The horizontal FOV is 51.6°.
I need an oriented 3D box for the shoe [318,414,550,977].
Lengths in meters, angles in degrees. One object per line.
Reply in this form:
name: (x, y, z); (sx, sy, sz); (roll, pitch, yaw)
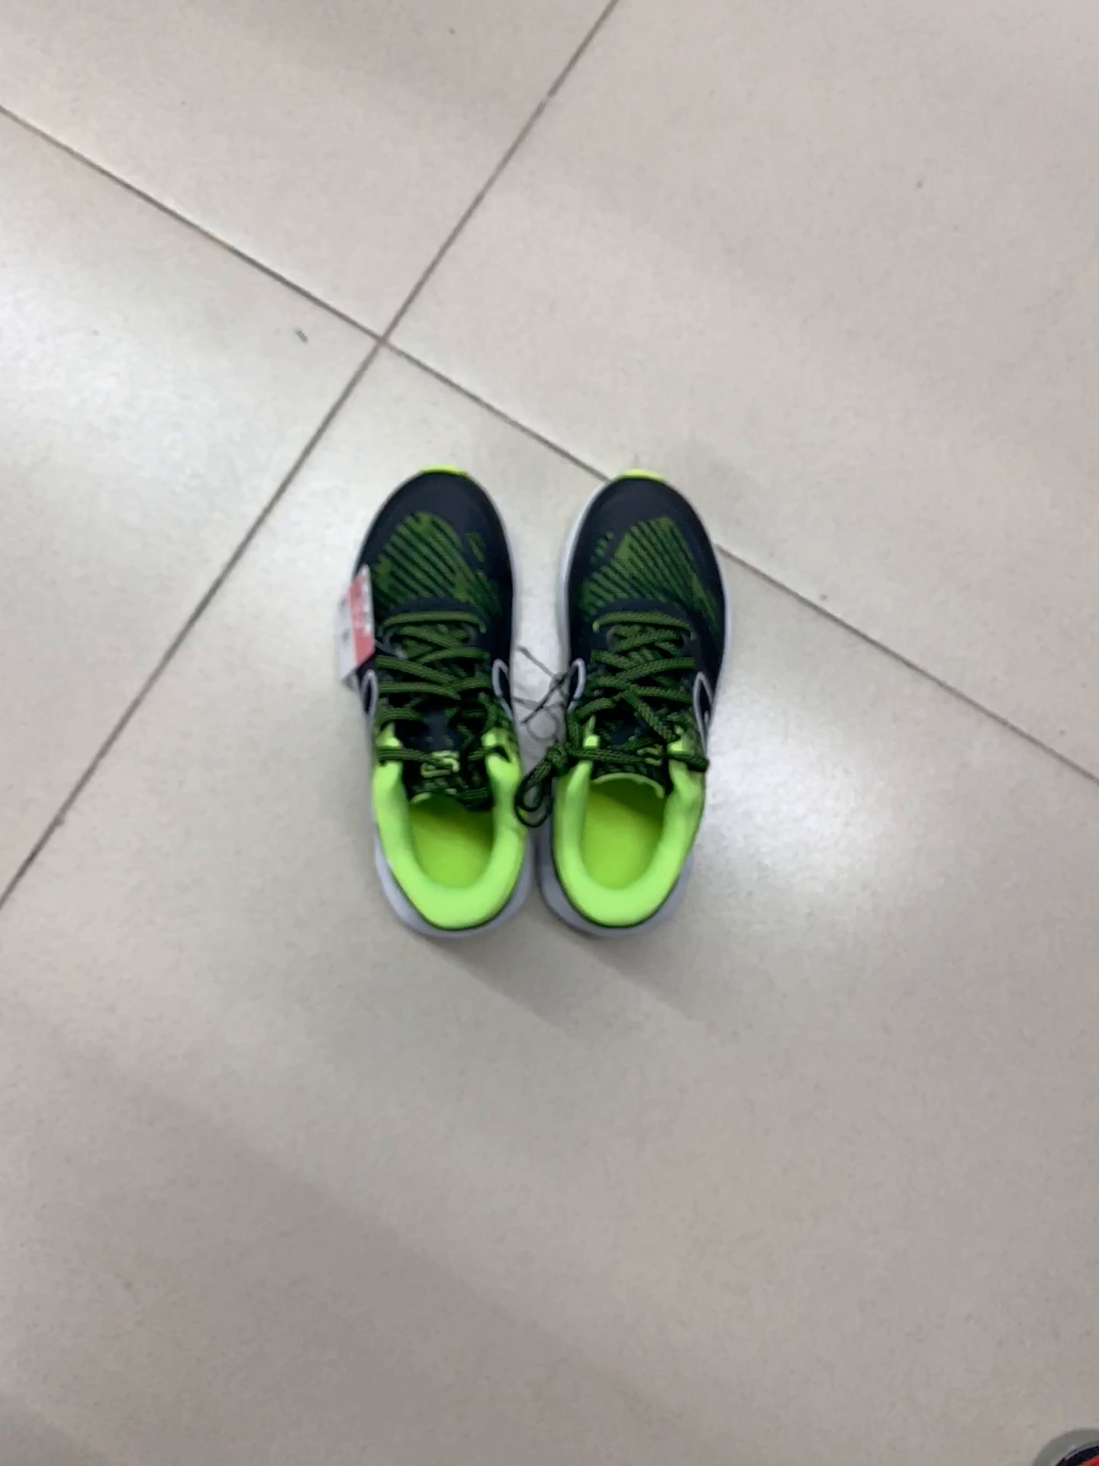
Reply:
shoe: (-0.053, -0.014, 0.542); (0.090, 0.110, 0.240); (-3, 84, -3)

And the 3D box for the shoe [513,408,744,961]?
shoe: (0.034, -0.018, 0.553); (0.090, 0.110, 0.240); (3, 83, -2)
